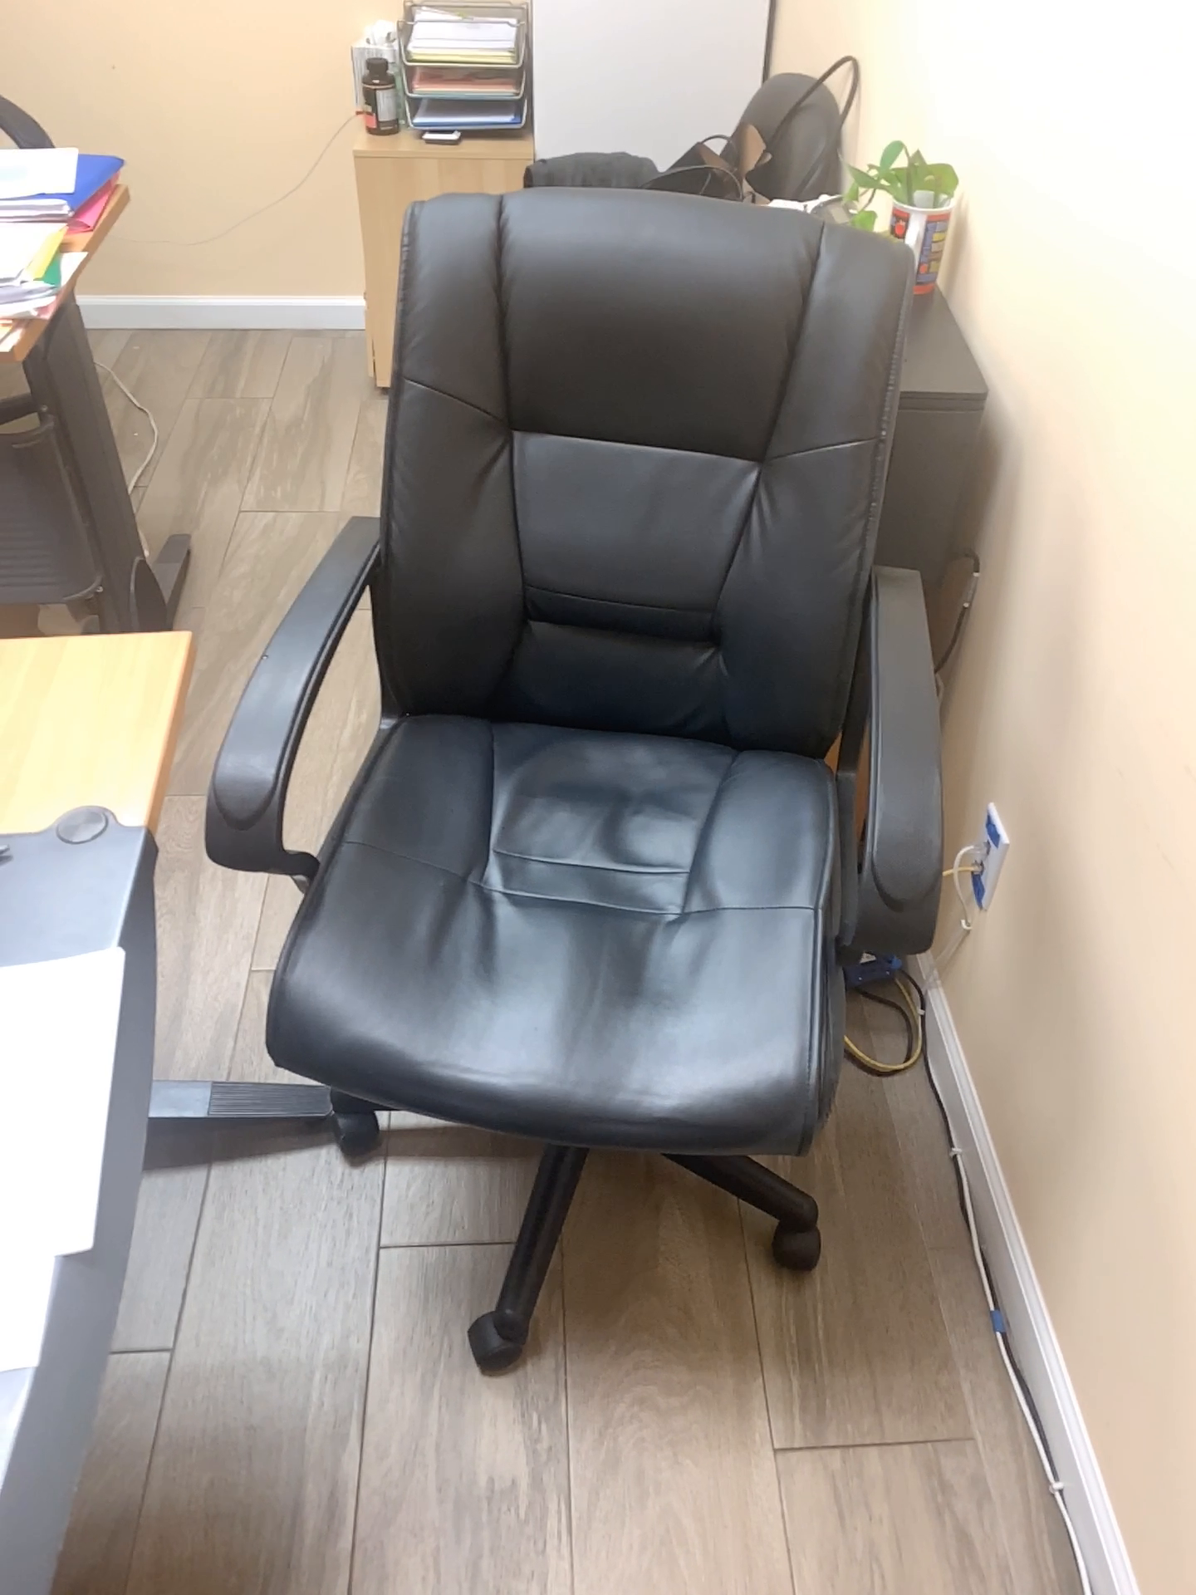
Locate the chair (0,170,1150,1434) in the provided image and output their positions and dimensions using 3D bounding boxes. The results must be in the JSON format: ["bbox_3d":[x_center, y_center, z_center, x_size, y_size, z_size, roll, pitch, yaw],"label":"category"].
[{"bbox_3d":[-0.009,0.031,1.158,0.620,0.947,0.665,7,43,5],"label":"chair"}]
